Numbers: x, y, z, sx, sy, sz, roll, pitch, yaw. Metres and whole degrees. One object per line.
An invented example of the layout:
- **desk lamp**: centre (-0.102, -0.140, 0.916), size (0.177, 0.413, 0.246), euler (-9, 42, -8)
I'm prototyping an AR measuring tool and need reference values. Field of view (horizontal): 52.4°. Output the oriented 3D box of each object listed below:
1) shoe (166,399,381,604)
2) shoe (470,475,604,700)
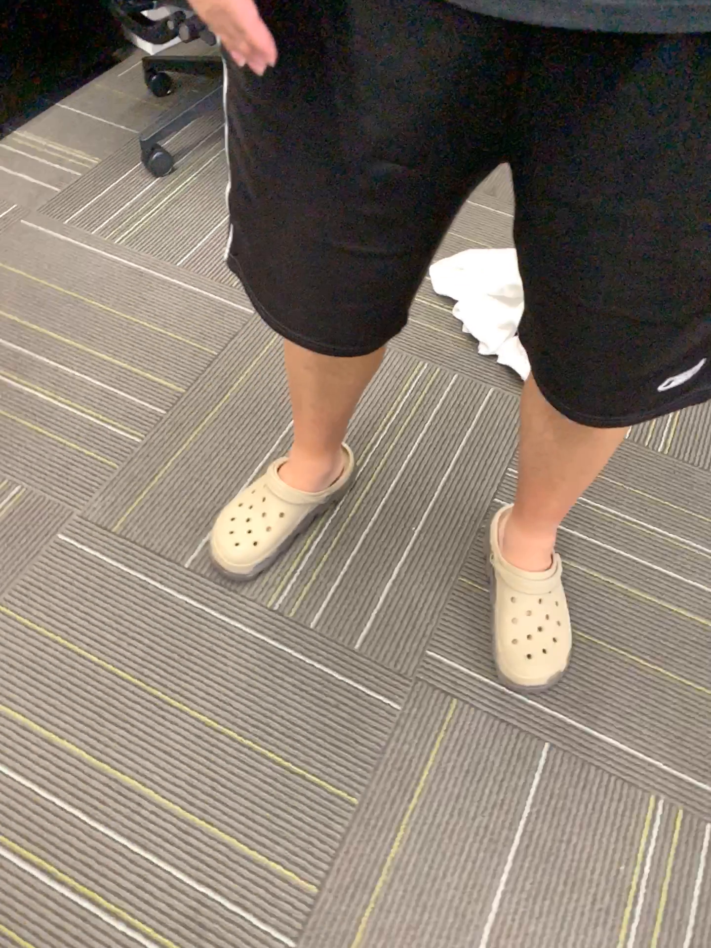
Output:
- **shoe**: centre (-0.125, 0.035, 1.180), size (0.150, 0.090, 0.331), euler (36, 59, 21)
- **shoe**: centre (0.265, 0.165, 1.108), size (0.140, 0.090, 0.331), euler (3, 53, -2)
